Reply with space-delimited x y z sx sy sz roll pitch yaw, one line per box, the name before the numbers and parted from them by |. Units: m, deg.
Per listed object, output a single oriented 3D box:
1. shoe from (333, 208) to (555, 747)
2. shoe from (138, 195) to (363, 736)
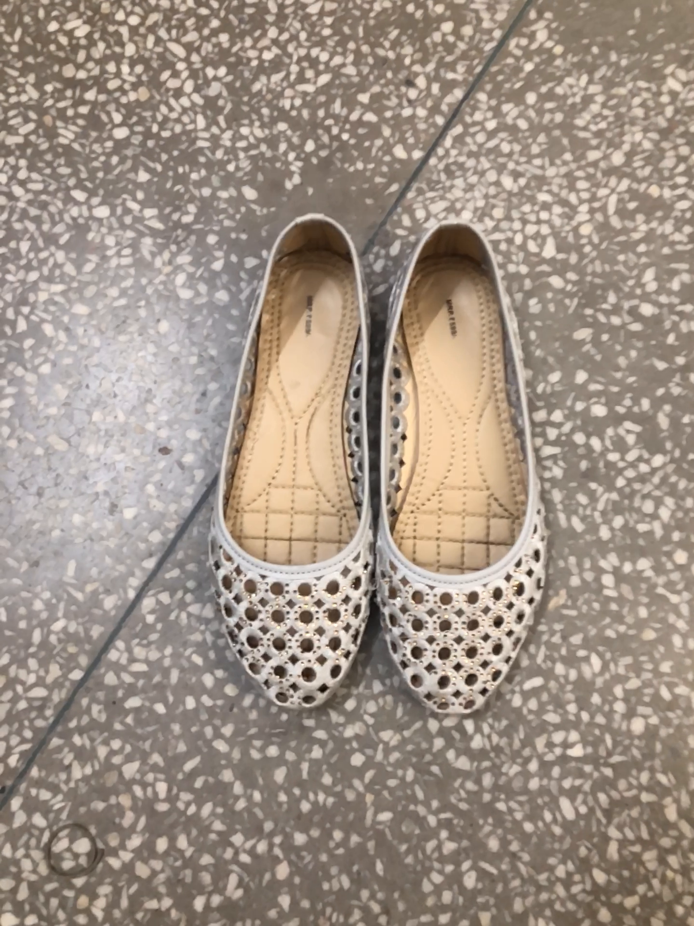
shoe | 0.041 0.005 0.374 0.093 0.070 0.240 0 81 -1
shoe | -0.040 0.000 0.372 0.093 0.070 0.240 0 81 -1
